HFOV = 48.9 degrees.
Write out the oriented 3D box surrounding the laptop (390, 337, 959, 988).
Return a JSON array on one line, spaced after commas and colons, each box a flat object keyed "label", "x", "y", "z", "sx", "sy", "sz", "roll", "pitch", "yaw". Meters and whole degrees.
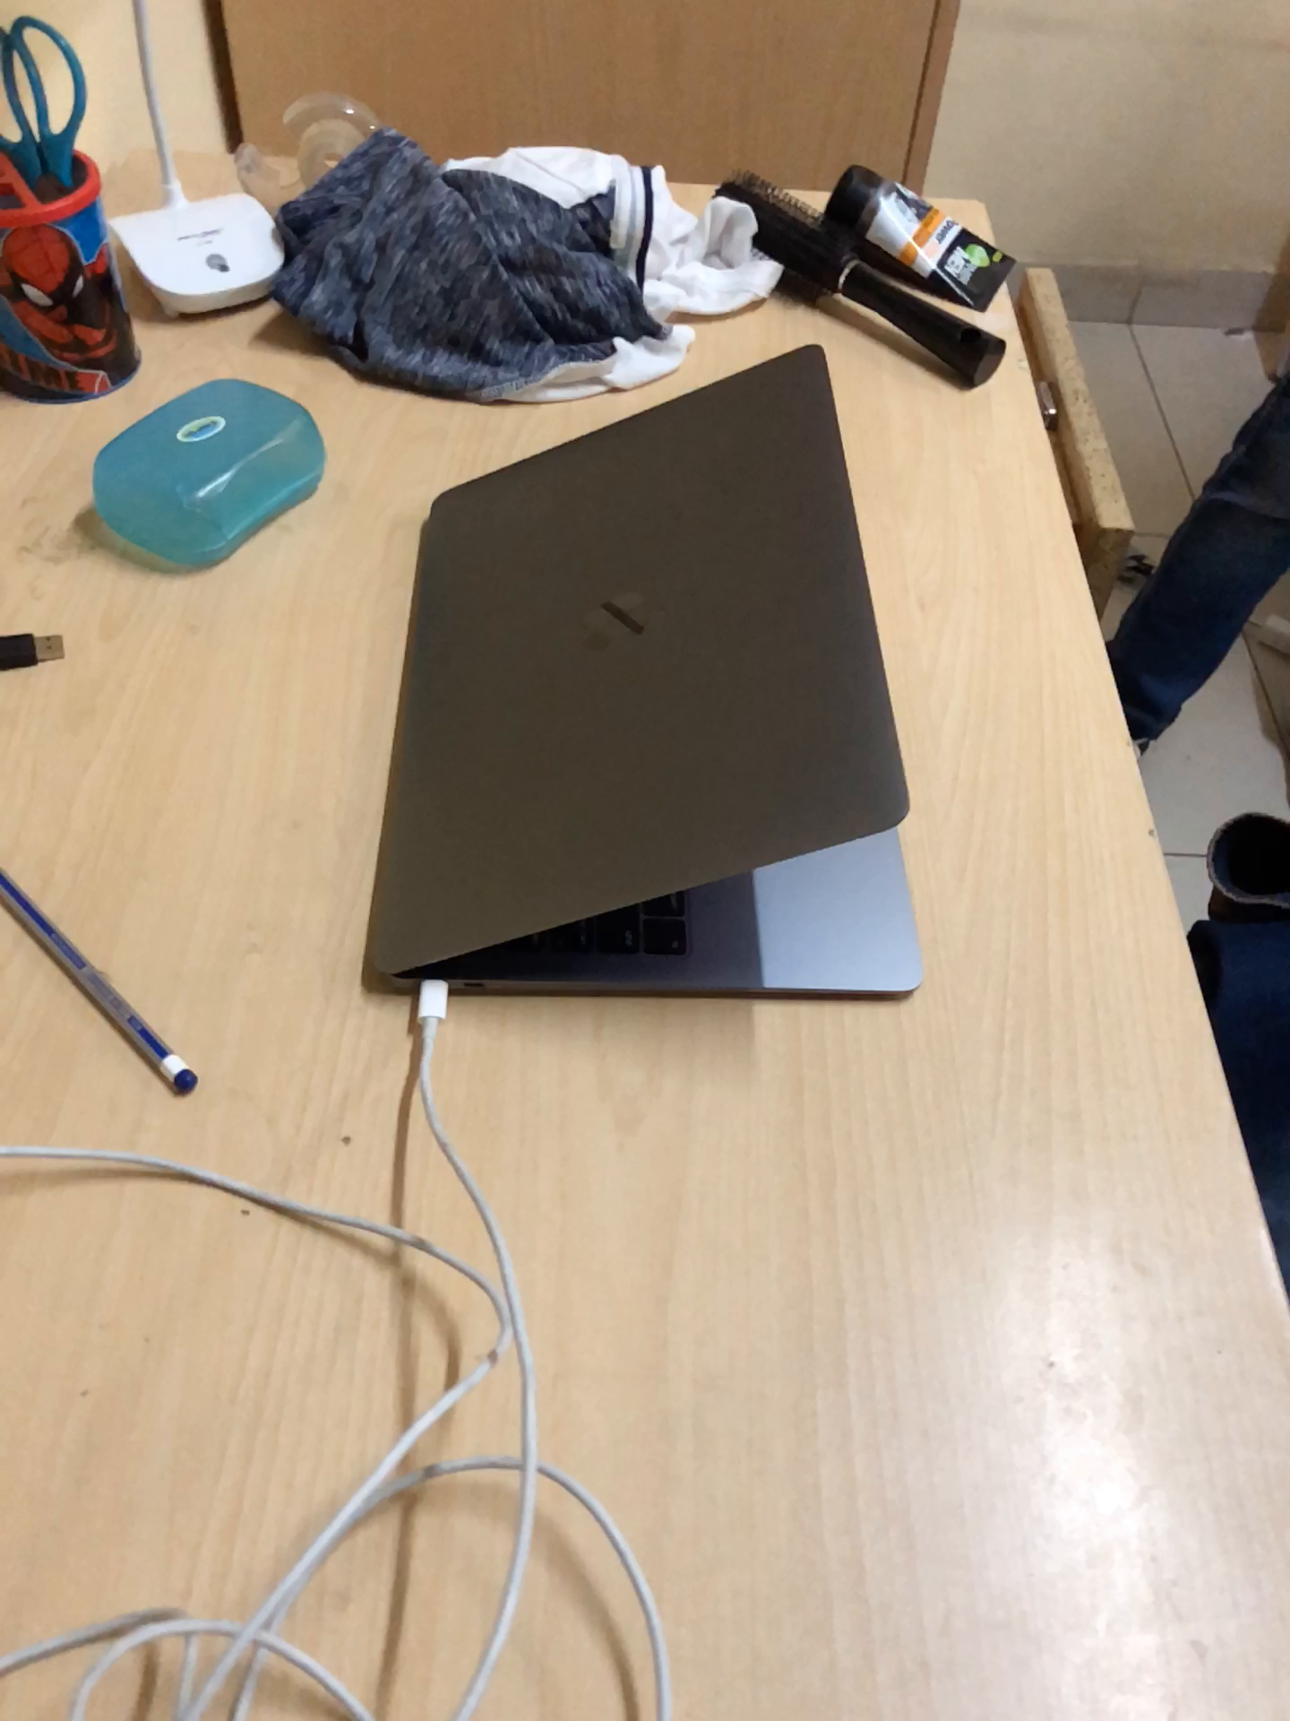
[{"label": "laptop", "x": 0.004, "y": -0.097, "z": 0.608, "sx": 0.193, "sy": 0.094, "sz": 0.295, "roll": 1, "pitch": 50, "yaw": -5}]
